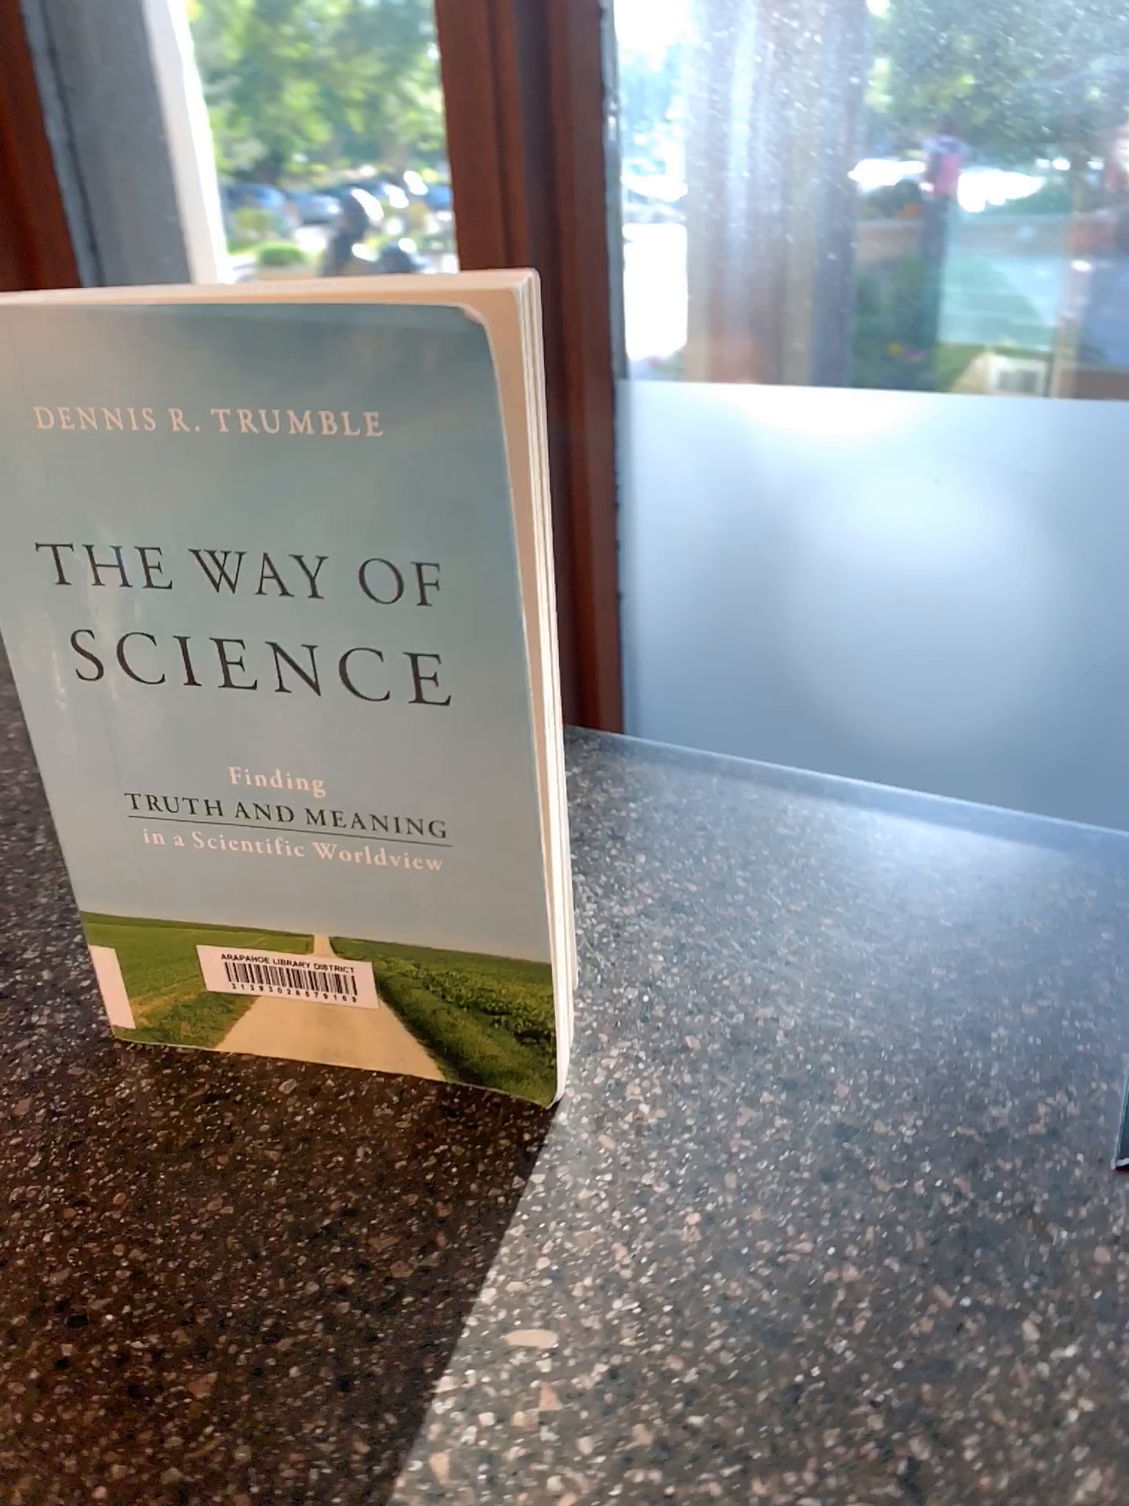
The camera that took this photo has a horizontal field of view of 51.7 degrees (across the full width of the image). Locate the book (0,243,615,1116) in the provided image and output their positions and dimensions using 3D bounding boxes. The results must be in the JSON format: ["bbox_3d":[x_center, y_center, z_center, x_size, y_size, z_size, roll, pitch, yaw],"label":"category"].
[{"bbox_3d":[-0.076,-0.012,0.311,0.167,0.219,0.040,4,27,14],"label":"book"}]
